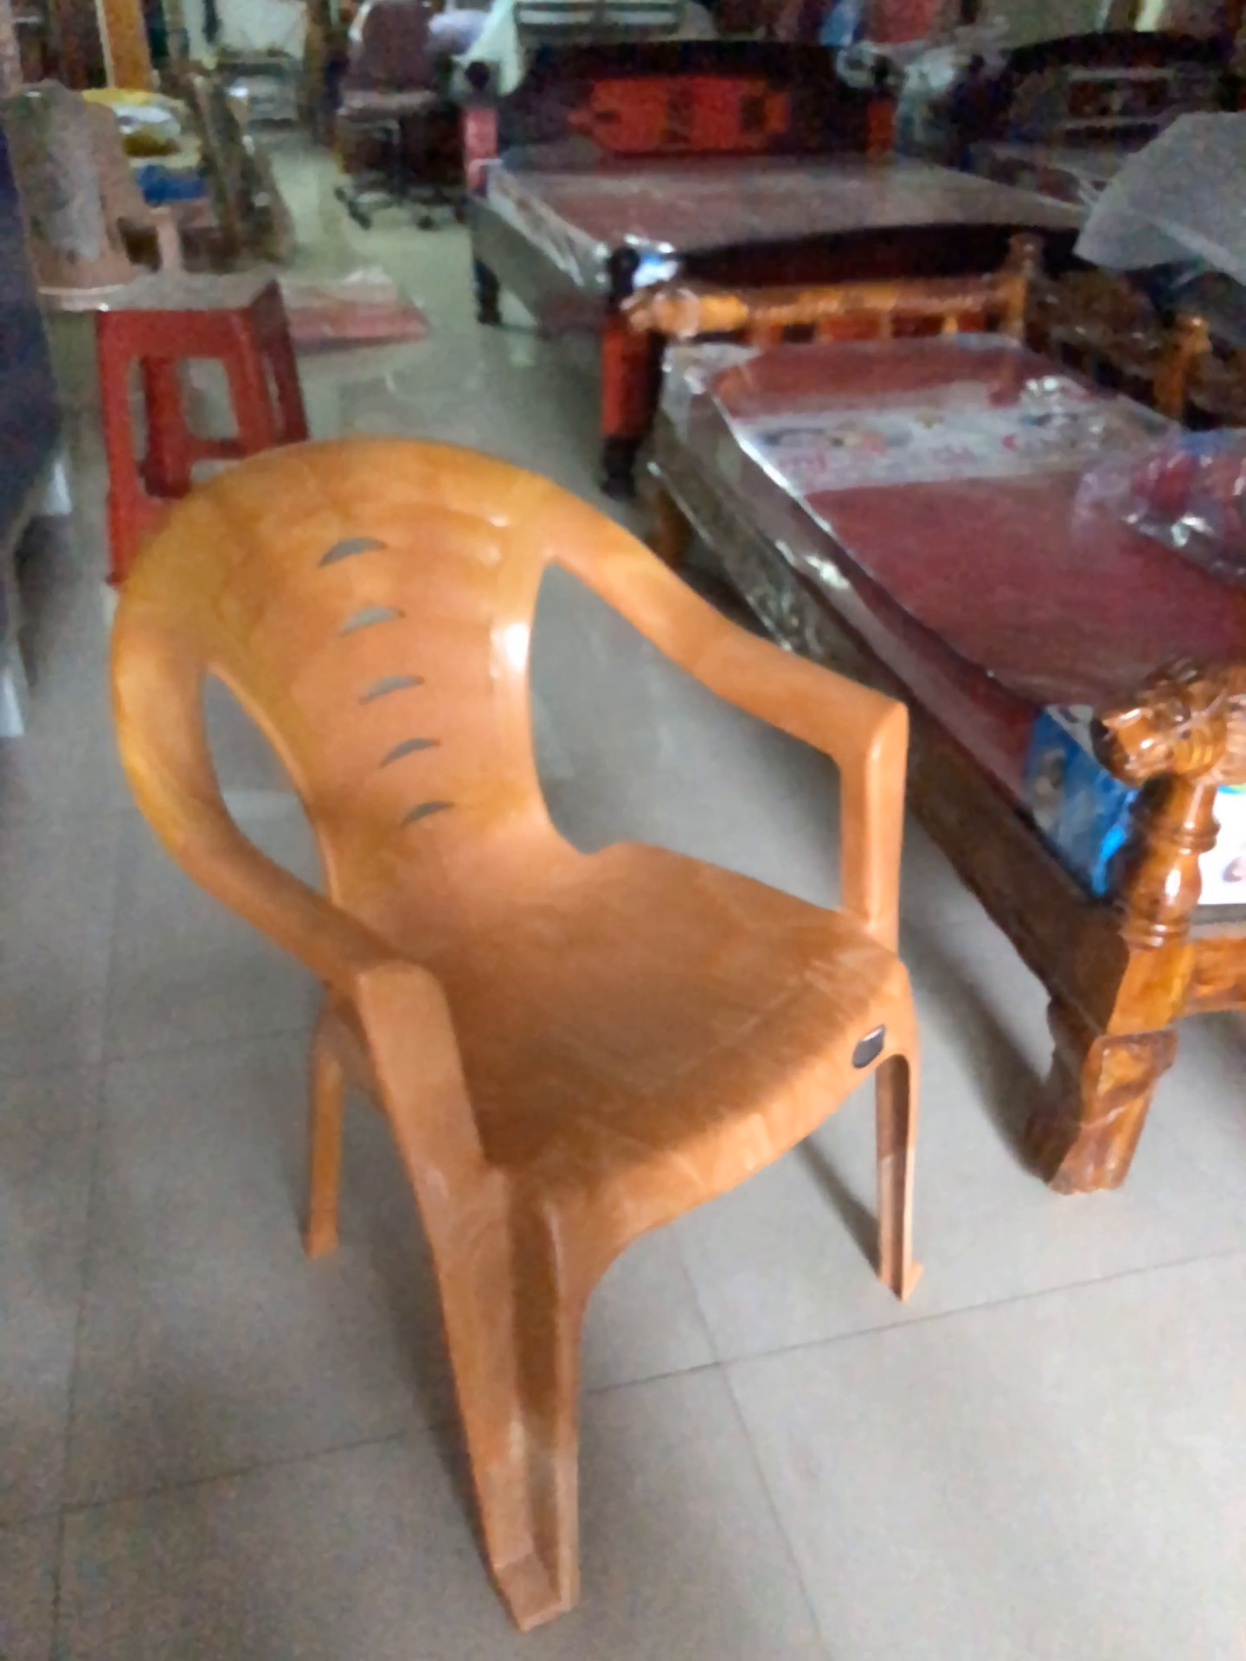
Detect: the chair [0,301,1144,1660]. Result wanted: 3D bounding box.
[{"bbox_3d":[-0.068,0.078,1.191,0.633,0.846,0.600,-27,41,-37],"label":"chair"}]
